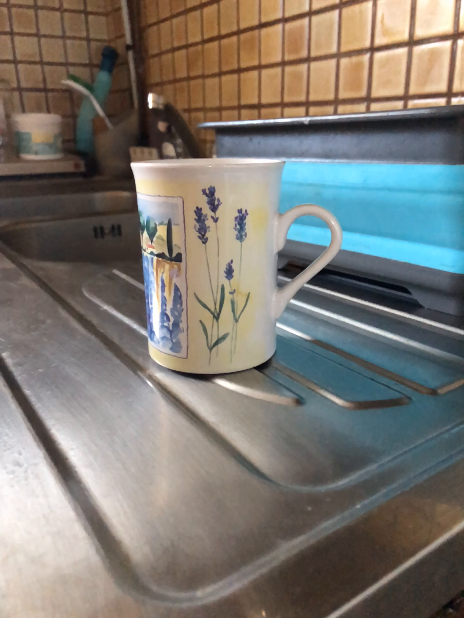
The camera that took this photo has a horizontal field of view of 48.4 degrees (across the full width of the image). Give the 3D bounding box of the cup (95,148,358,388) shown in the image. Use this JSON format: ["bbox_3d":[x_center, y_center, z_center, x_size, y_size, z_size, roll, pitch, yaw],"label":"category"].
[{"bbox_3d":[0.004,-0.026,0.258,0.110,0.100,0.070,3,19,13],"label":"cup"}]
